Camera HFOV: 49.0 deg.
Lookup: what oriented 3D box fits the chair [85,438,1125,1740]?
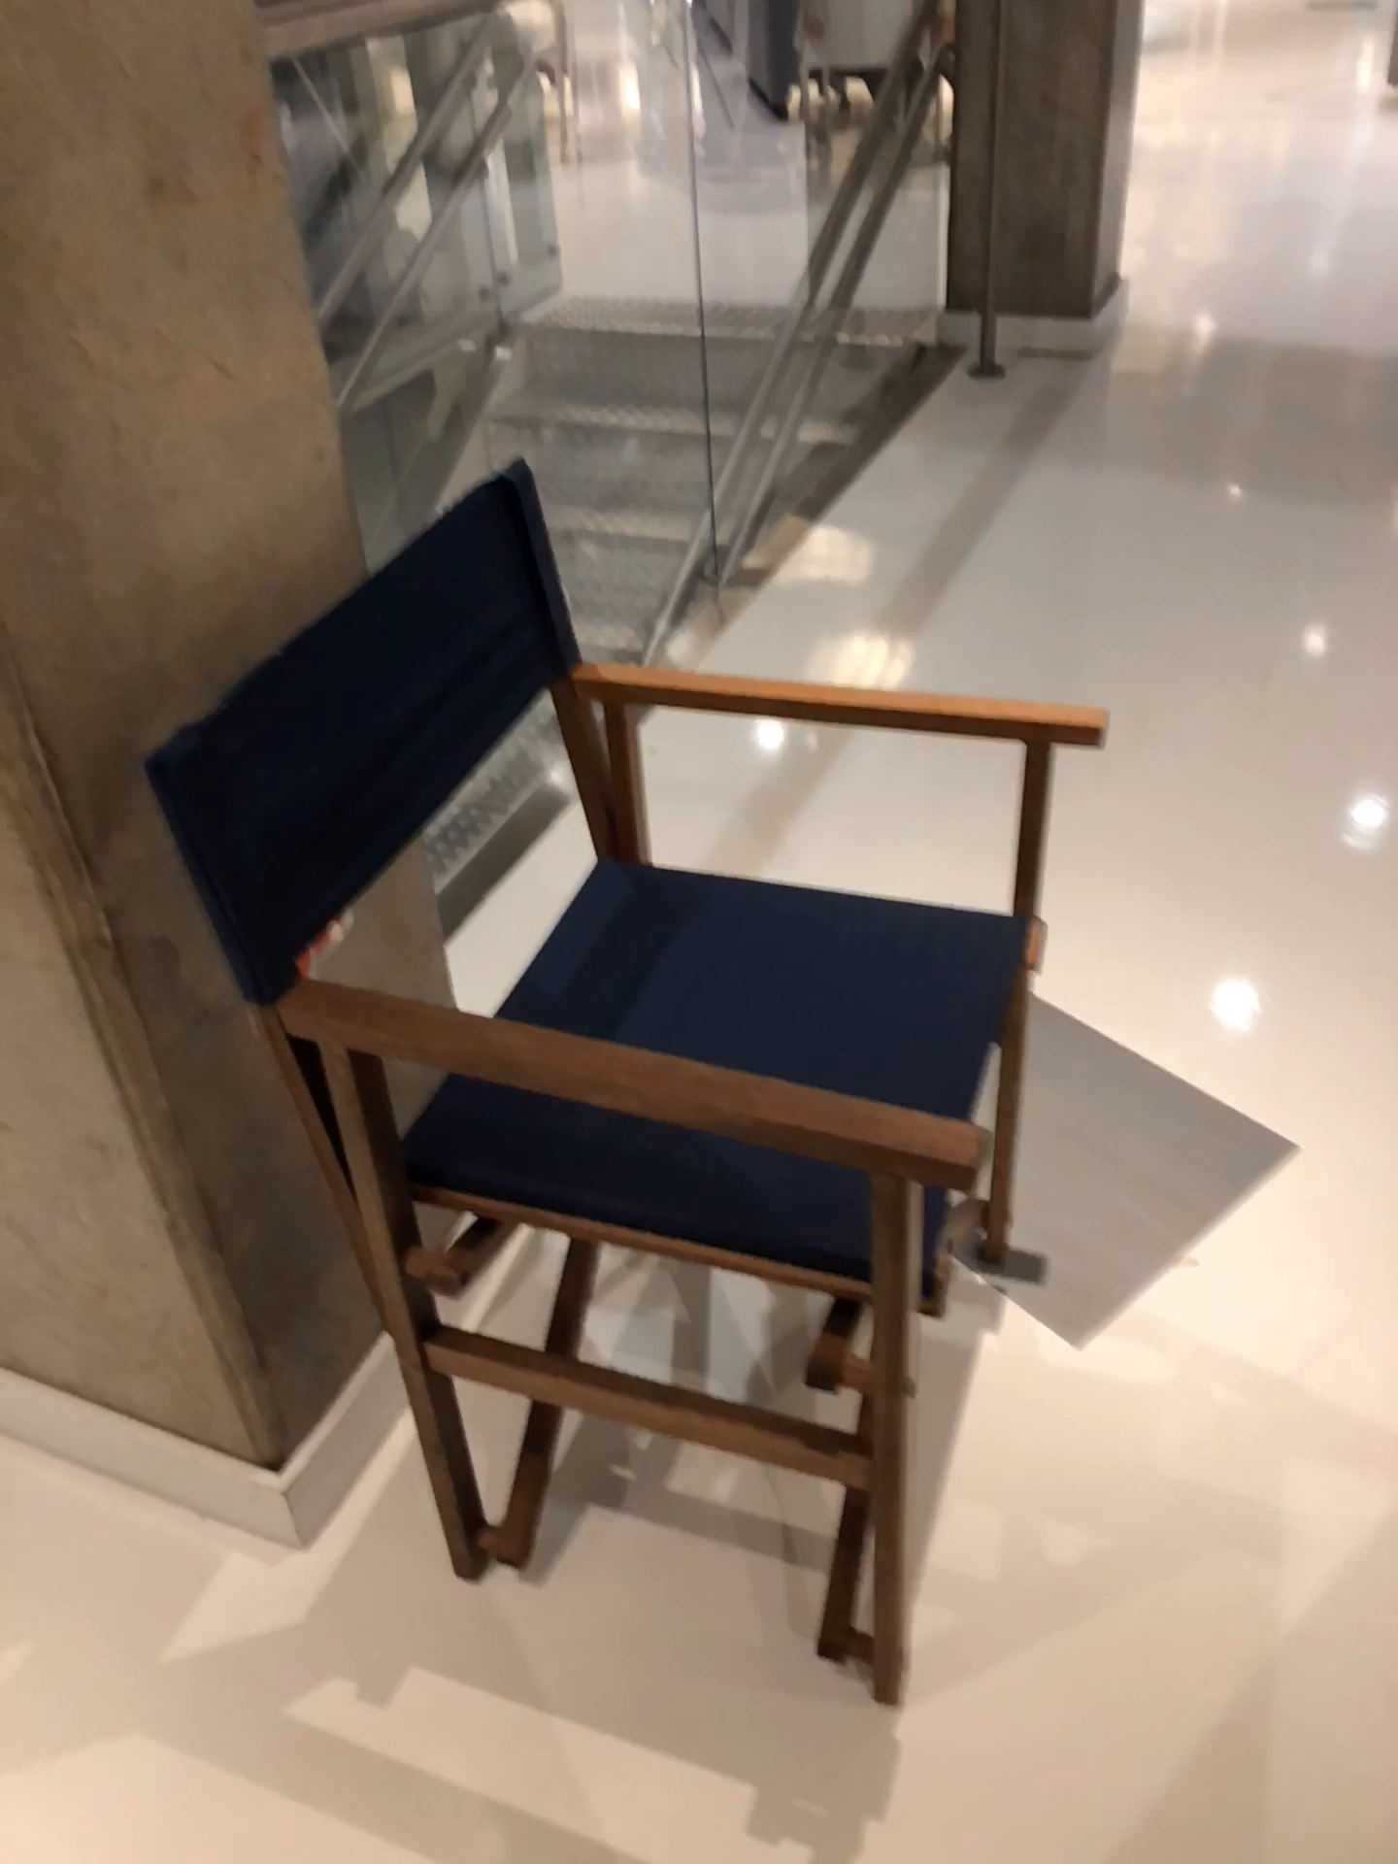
[{"bbox_3d":[0.008,0.097,1.243,0.500,0.774,0.584,10,38,19],"label":"chair"}]
